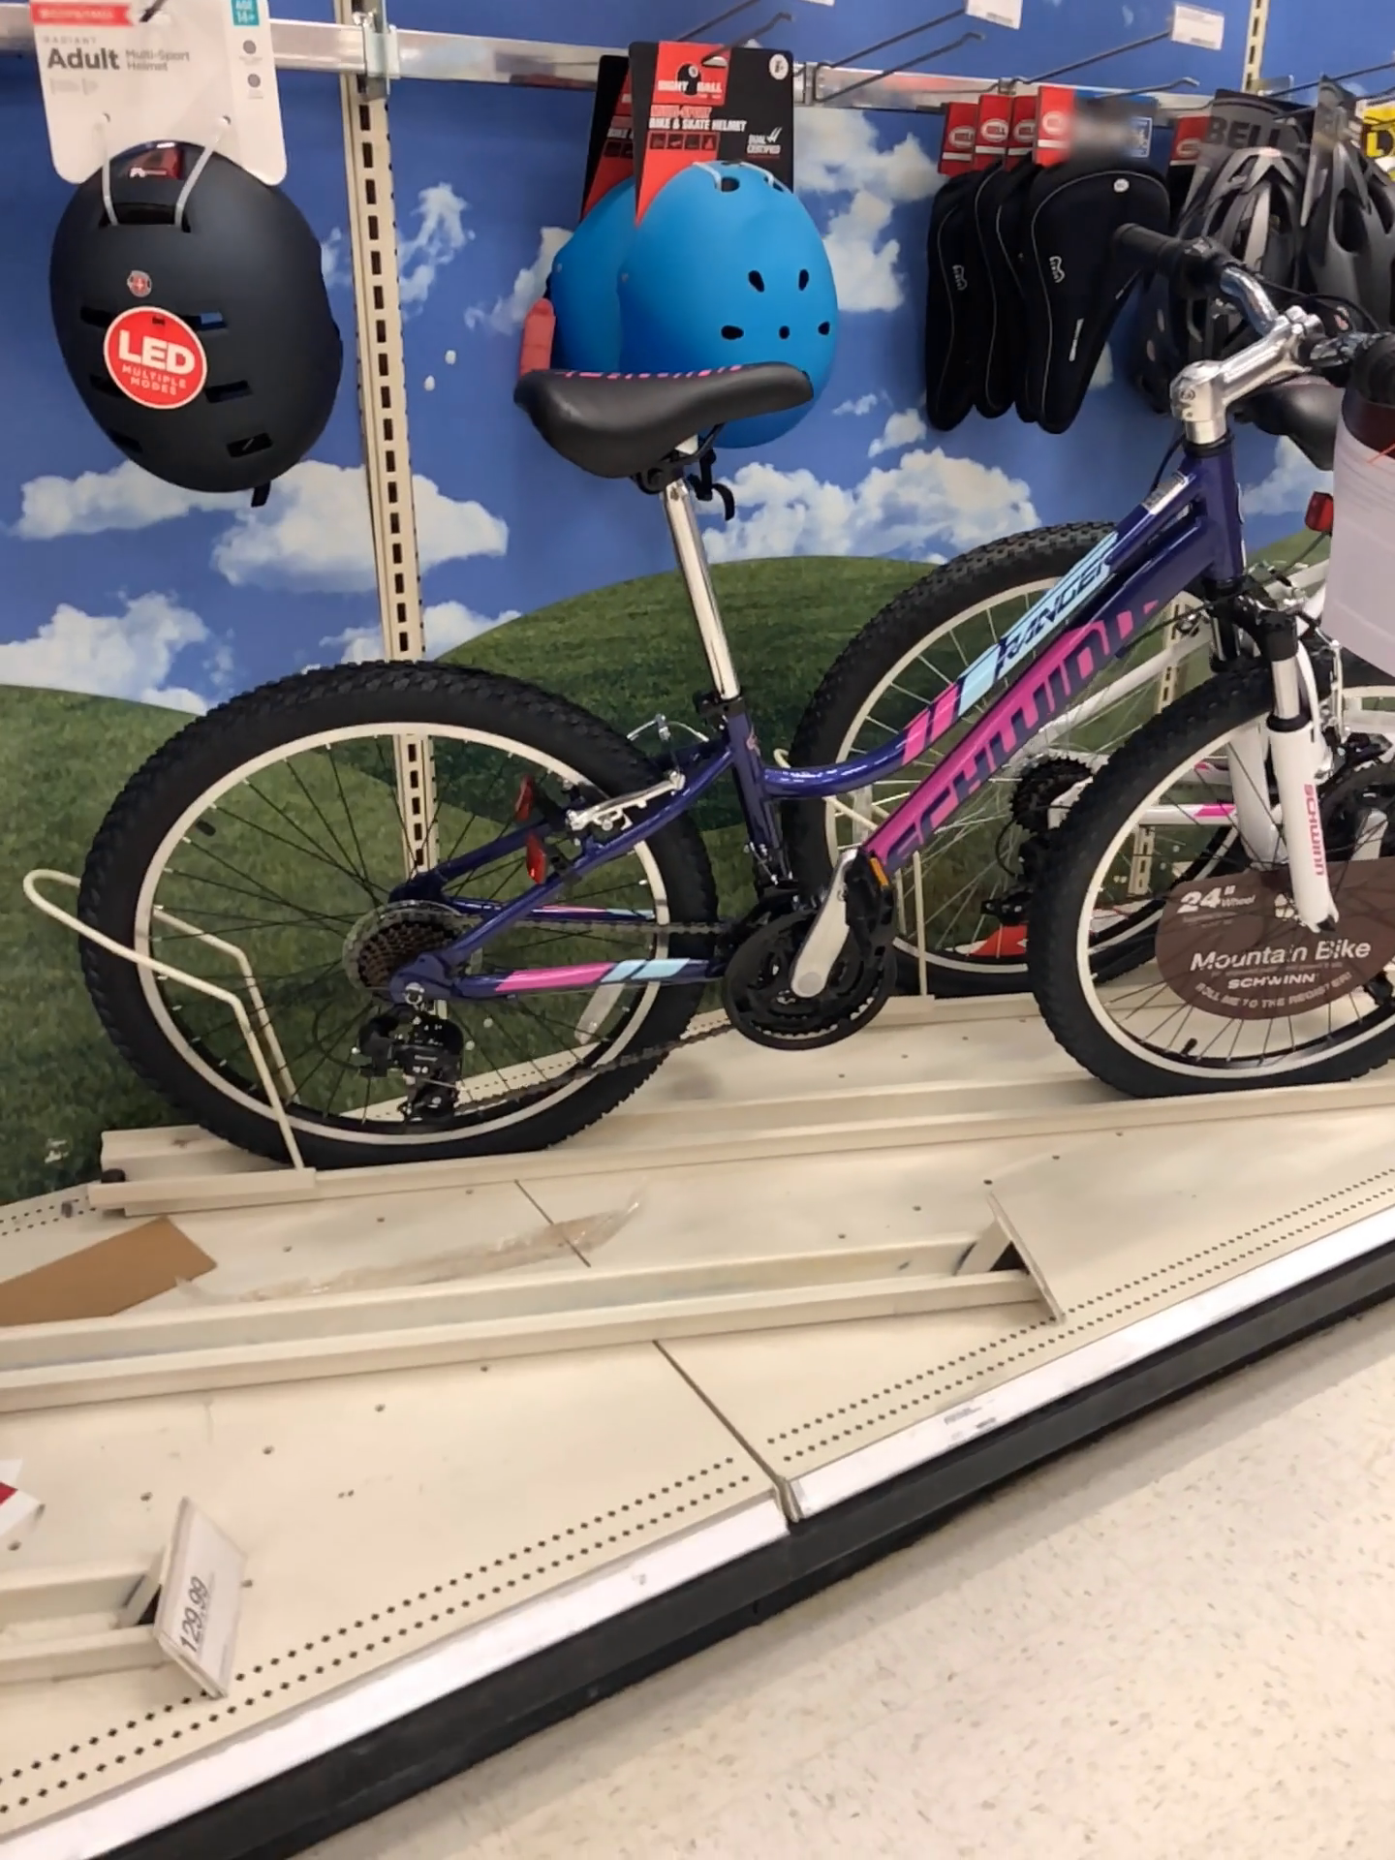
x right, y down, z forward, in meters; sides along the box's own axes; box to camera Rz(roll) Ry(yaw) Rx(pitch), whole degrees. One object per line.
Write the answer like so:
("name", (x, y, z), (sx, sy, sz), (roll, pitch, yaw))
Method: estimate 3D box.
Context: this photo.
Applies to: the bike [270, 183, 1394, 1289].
("bike", (0.327, -0.214, 1.387), (1.222, 0.799, 0.570), (-2, 23, -3))
